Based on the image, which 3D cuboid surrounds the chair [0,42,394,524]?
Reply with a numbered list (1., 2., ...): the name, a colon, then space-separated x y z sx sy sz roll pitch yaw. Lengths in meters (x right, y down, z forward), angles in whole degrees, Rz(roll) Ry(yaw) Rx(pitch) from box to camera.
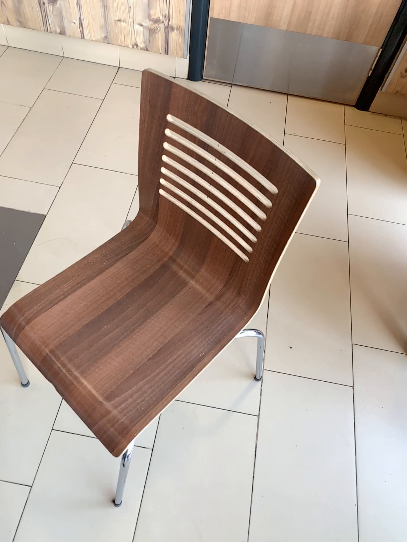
1. chair: -0.140 0.094 0.938 0.592 0.795 0.545 -38 69 -26
